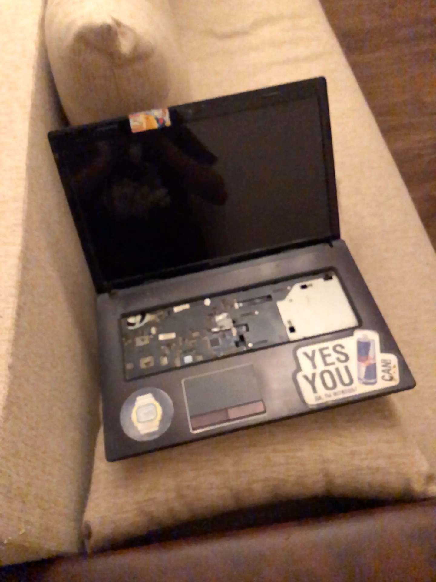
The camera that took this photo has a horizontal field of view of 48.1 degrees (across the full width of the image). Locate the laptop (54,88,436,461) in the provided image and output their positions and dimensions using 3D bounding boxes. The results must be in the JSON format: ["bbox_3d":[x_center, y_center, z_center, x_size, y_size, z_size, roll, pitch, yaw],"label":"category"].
[{"bbox_3d":[0.011,-0.040,0.675,0.412,0.198,0.409,-12,55,-3],"label":"laptop"}]
